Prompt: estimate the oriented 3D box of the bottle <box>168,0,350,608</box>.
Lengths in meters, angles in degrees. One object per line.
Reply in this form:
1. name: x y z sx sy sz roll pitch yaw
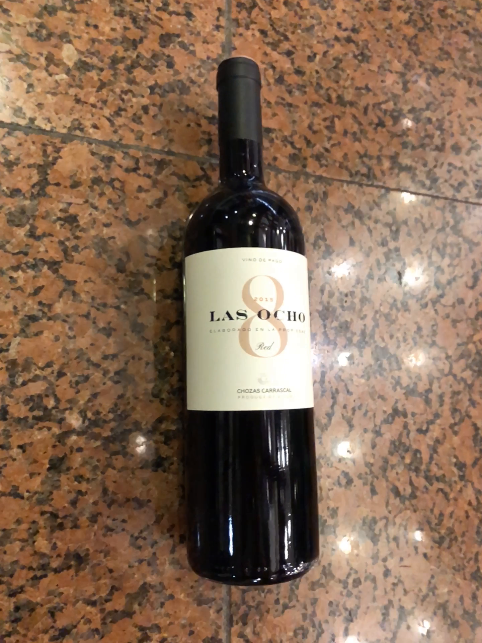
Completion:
1. bottle: 0.005 -0.025 0.327 0.080 0.070 0.340 1 83 -22
